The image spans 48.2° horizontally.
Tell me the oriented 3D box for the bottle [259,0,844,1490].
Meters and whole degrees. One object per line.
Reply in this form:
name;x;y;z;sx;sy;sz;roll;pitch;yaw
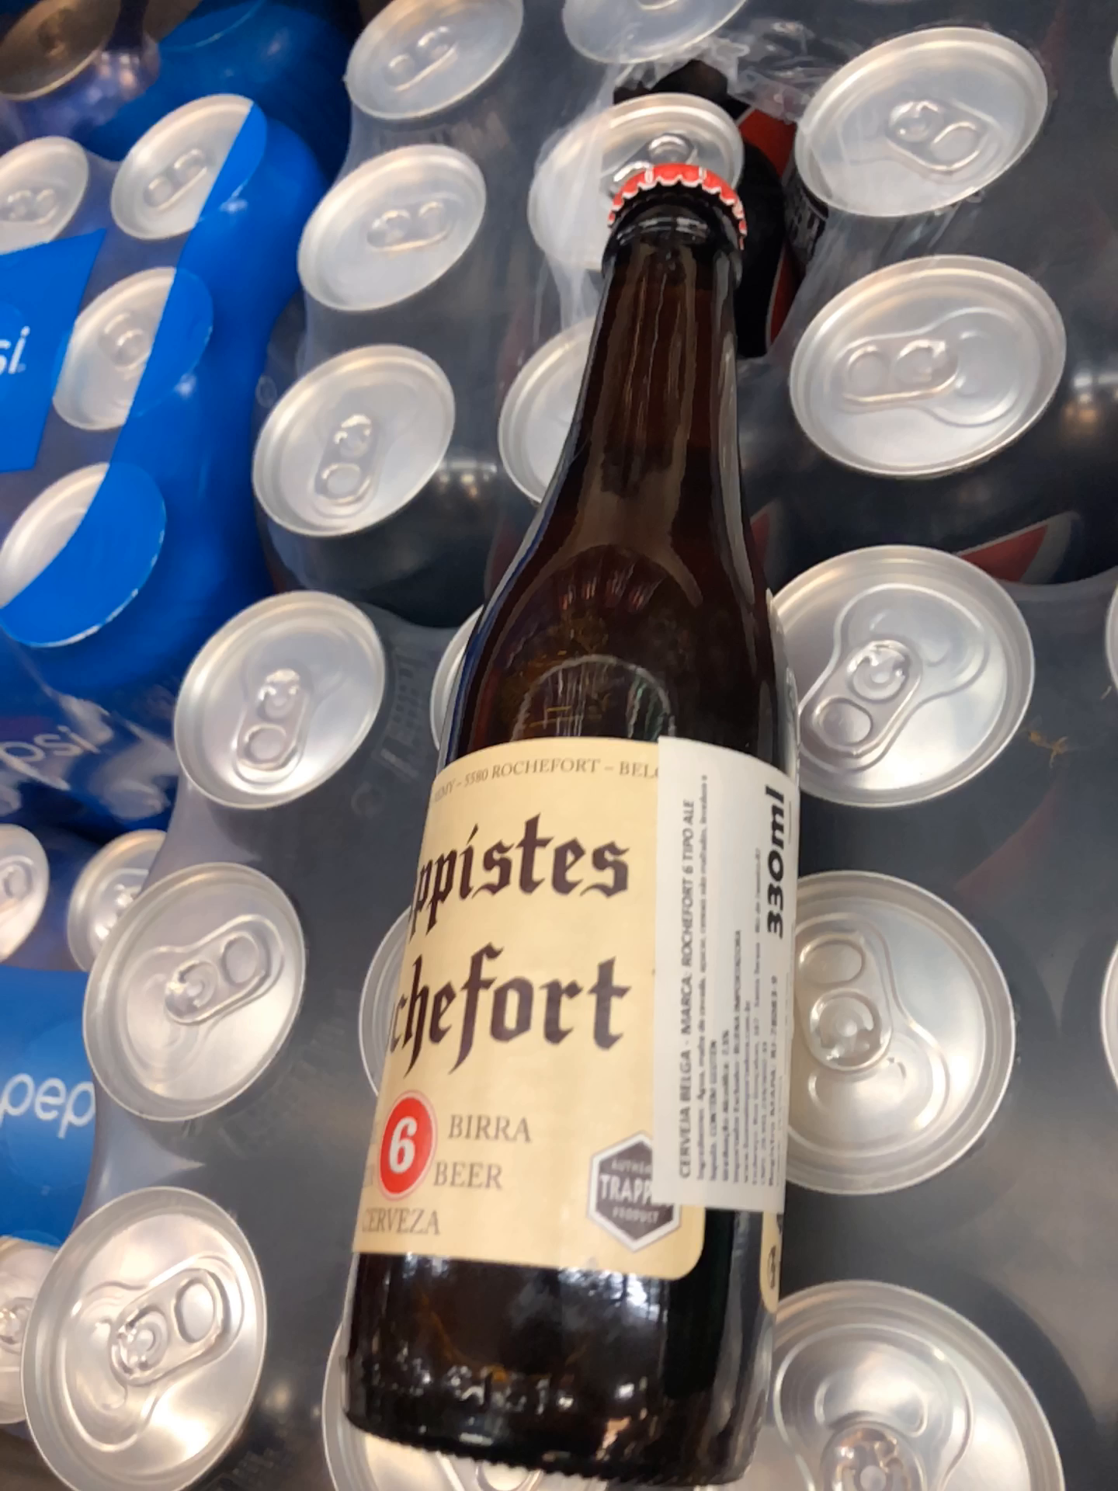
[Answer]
bottle;0.012;-0.018;0.211;0.060;0.050;0.240;-3;66;21
